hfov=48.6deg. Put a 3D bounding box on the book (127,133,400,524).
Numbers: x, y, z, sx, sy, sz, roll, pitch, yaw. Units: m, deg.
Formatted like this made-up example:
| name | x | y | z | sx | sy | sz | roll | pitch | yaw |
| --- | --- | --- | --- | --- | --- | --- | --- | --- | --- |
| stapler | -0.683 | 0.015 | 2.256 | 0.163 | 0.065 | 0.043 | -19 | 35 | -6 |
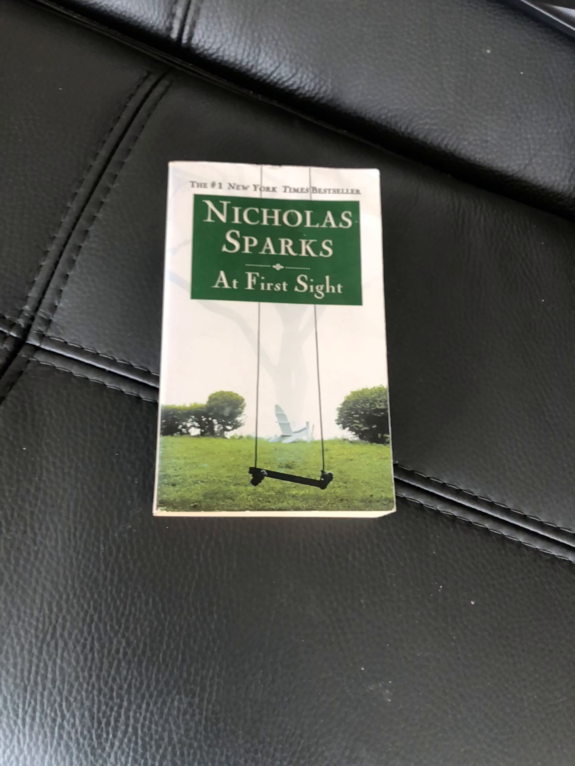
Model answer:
| name | x | y | z | sx | sy | sz | roll | pitch | yaw |
| --- | --- | --- | --- | --- | --- | --- | --- | --- | --- |
| book | -0.011 | -0.027 | 0.318 | 0.120 | 0.030 | 0.190 | 2 | 76 | -8 |
